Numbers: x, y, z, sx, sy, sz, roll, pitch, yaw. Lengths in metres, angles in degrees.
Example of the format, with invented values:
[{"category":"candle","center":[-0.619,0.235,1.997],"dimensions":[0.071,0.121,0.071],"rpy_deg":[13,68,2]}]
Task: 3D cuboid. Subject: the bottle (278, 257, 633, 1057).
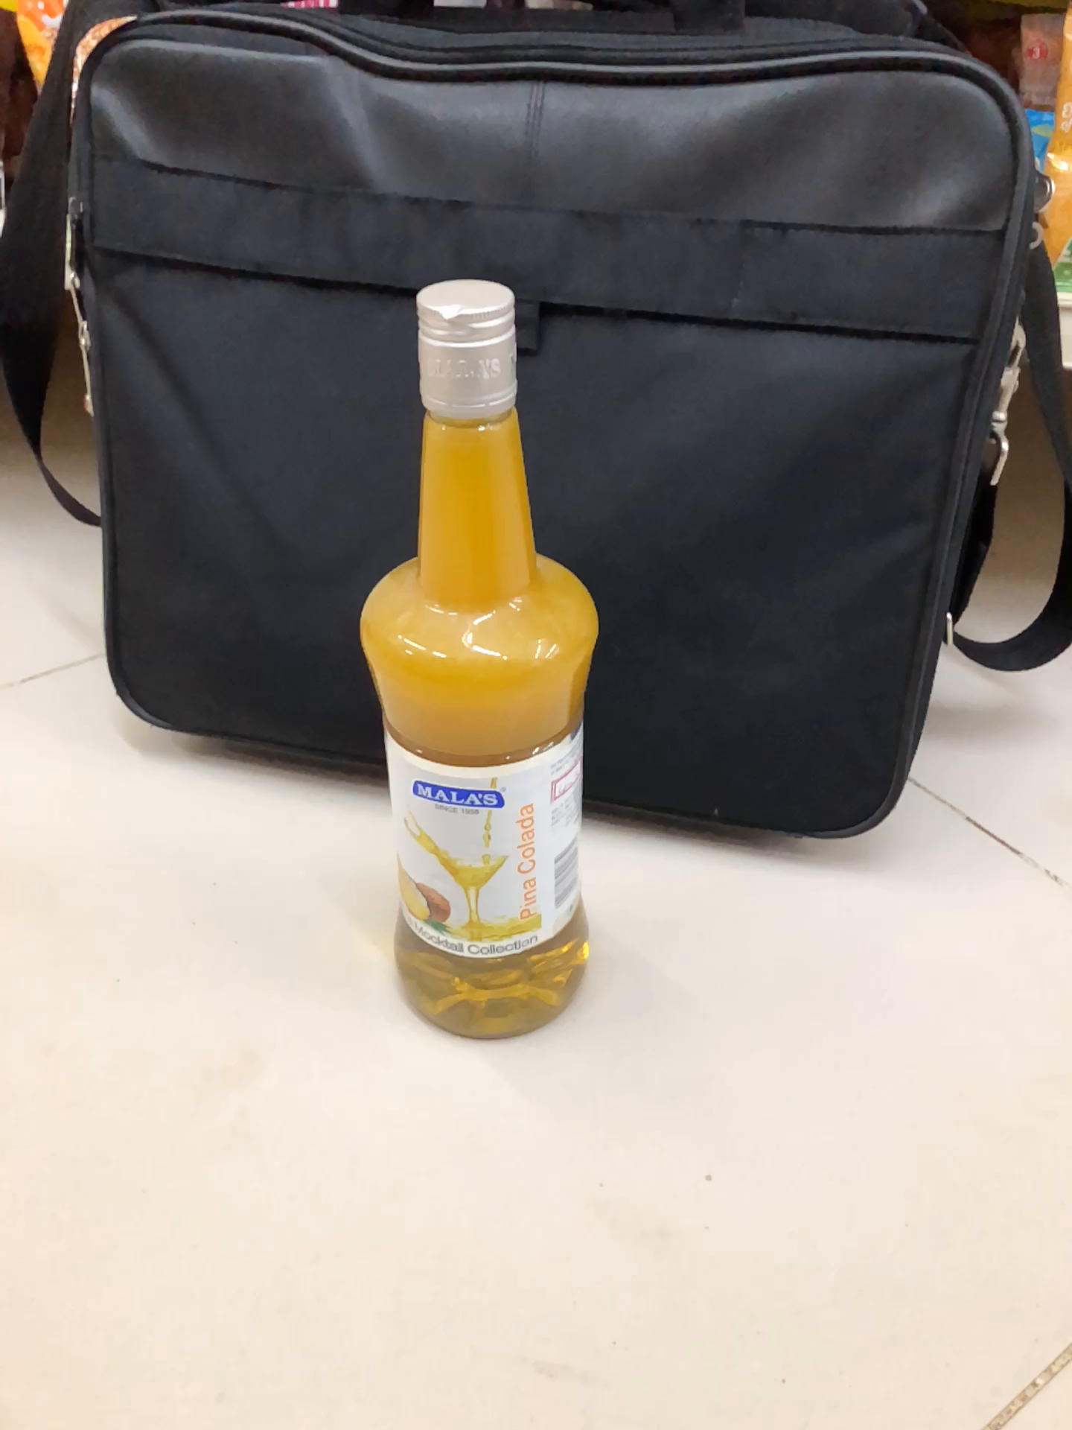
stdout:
[{"category":"bottle","center":[-0.019,-0.005,0.432],"dimensions":[0.090,0.288,0.081],"rpy_deg":[5,37,6]}]
